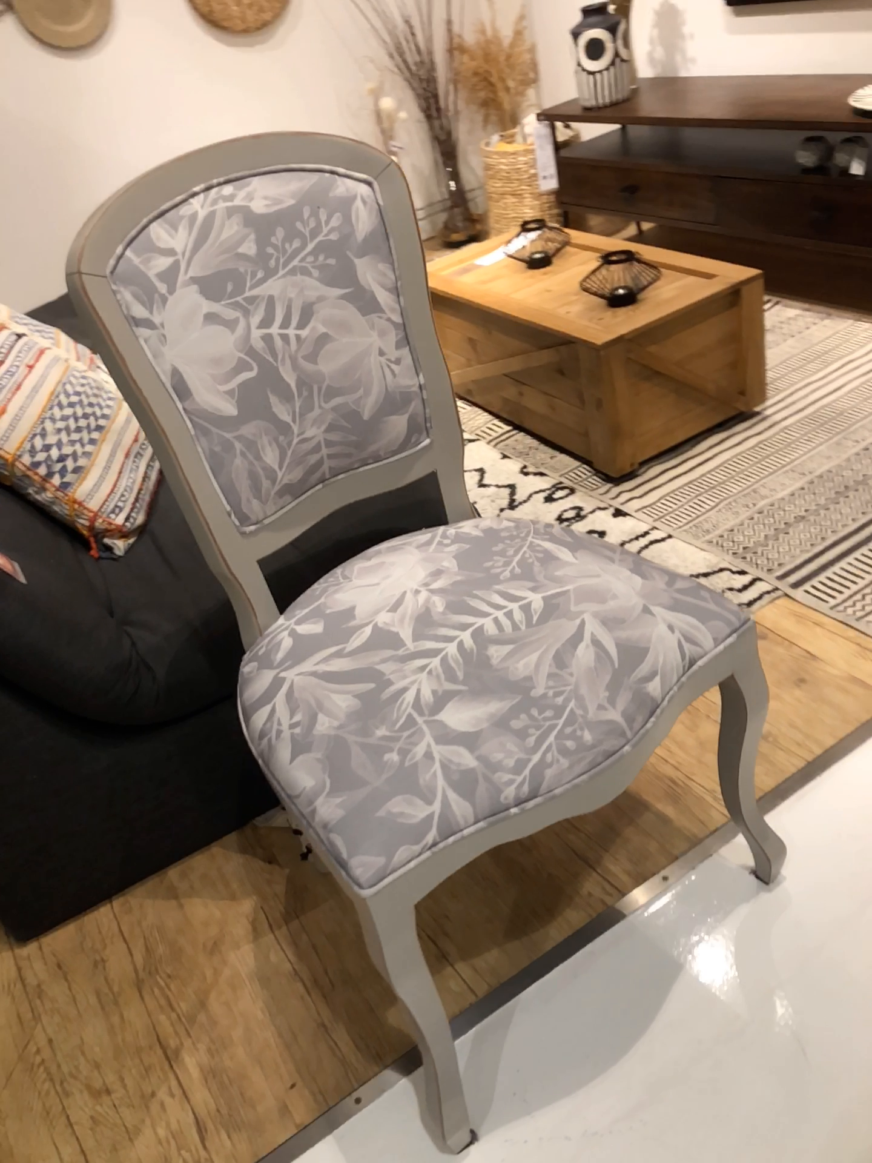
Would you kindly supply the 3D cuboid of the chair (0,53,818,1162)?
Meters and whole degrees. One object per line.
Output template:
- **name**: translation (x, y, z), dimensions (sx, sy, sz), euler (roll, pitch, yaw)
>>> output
- **chair**: translation (0.003, 0.020, 1.061), dimensions (0.571, 0.943, 0.533), euler (-28, 36, -20)
